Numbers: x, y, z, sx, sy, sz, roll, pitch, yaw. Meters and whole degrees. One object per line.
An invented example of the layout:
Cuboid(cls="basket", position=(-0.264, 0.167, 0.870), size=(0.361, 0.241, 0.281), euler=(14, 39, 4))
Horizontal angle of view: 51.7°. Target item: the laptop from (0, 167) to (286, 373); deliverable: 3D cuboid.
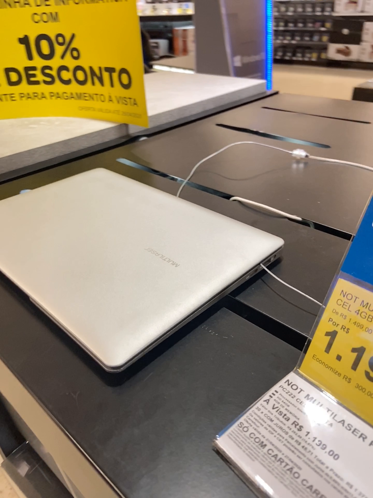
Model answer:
Cuboid(cls="laptop", position=(-0.089, -0.019, 0.406), size=(0.315, 0.003, 0.205), euler=(26, 43, 37))
